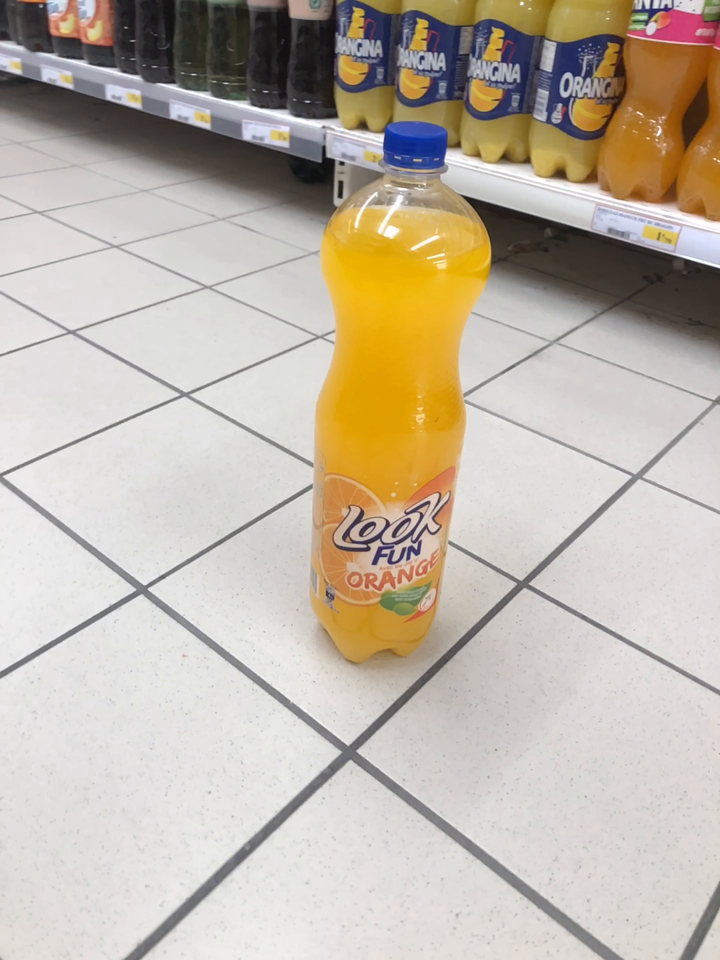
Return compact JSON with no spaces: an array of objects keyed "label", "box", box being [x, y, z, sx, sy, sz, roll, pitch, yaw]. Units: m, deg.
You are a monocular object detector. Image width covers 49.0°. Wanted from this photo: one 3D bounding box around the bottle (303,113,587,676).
[{"label":"bottle","box":[0.026,-0.032,0.445,0.110,0.298,0.101,3,34,-2]}]
